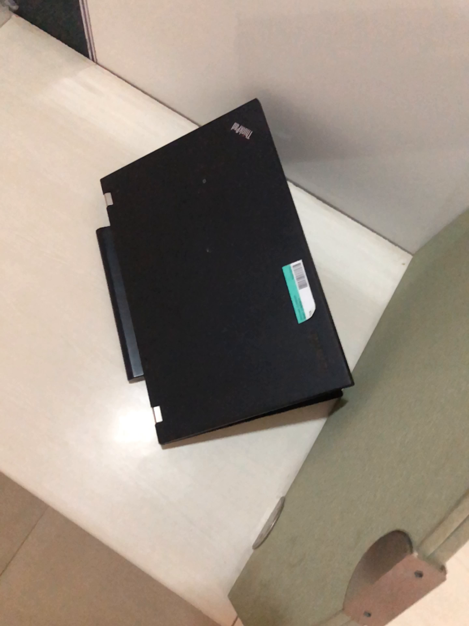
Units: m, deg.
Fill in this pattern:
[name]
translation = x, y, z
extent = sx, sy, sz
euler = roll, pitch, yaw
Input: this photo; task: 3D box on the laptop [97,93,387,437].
[laptop]
translation = -0.010, -0.058, 0.629
extent = 0.232, 0.140, 0.355
euler = -13, 74, -9
